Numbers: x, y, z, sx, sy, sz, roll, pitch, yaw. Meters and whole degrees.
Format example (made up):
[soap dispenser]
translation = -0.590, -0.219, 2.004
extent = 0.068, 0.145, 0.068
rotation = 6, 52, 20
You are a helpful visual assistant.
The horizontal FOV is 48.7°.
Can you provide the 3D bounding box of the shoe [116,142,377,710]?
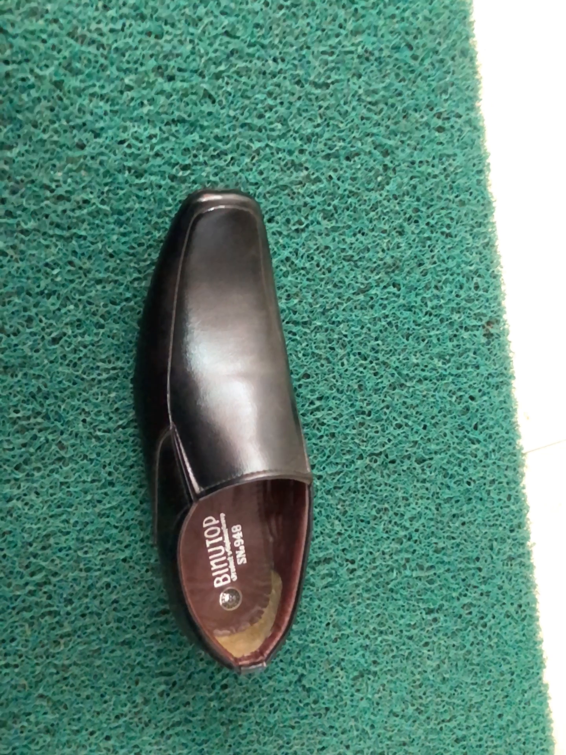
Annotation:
[shoe]
translation = -0.027, 0.019, 0.371
extent = 0.110, 0.130, 0.270
rotation = -5, 98, -20
